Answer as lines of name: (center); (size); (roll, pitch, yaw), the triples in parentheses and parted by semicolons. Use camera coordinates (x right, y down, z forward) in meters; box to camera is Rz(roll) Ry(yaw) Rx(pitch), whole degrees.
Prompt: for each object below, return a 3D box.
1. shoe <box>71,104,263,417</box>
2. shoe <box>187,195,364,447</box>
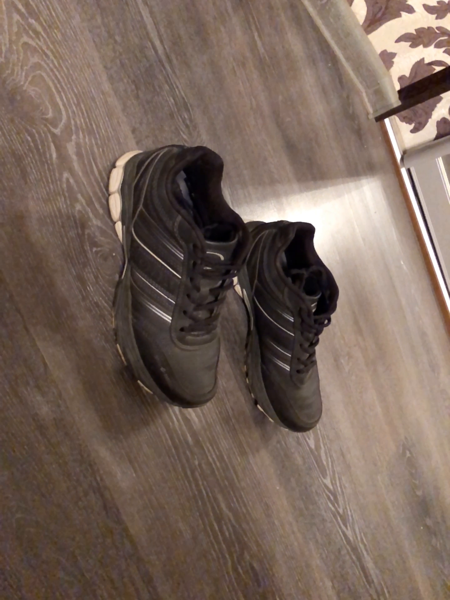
shoe: (-0.053, -0.031, 0.454); (0.101, 0.089, 0.250); (-8, 87, -44)
shoe: (0.060, 0.022, 0.577); (0.111, 0.099, 0.260); (-16, 93, -44)
